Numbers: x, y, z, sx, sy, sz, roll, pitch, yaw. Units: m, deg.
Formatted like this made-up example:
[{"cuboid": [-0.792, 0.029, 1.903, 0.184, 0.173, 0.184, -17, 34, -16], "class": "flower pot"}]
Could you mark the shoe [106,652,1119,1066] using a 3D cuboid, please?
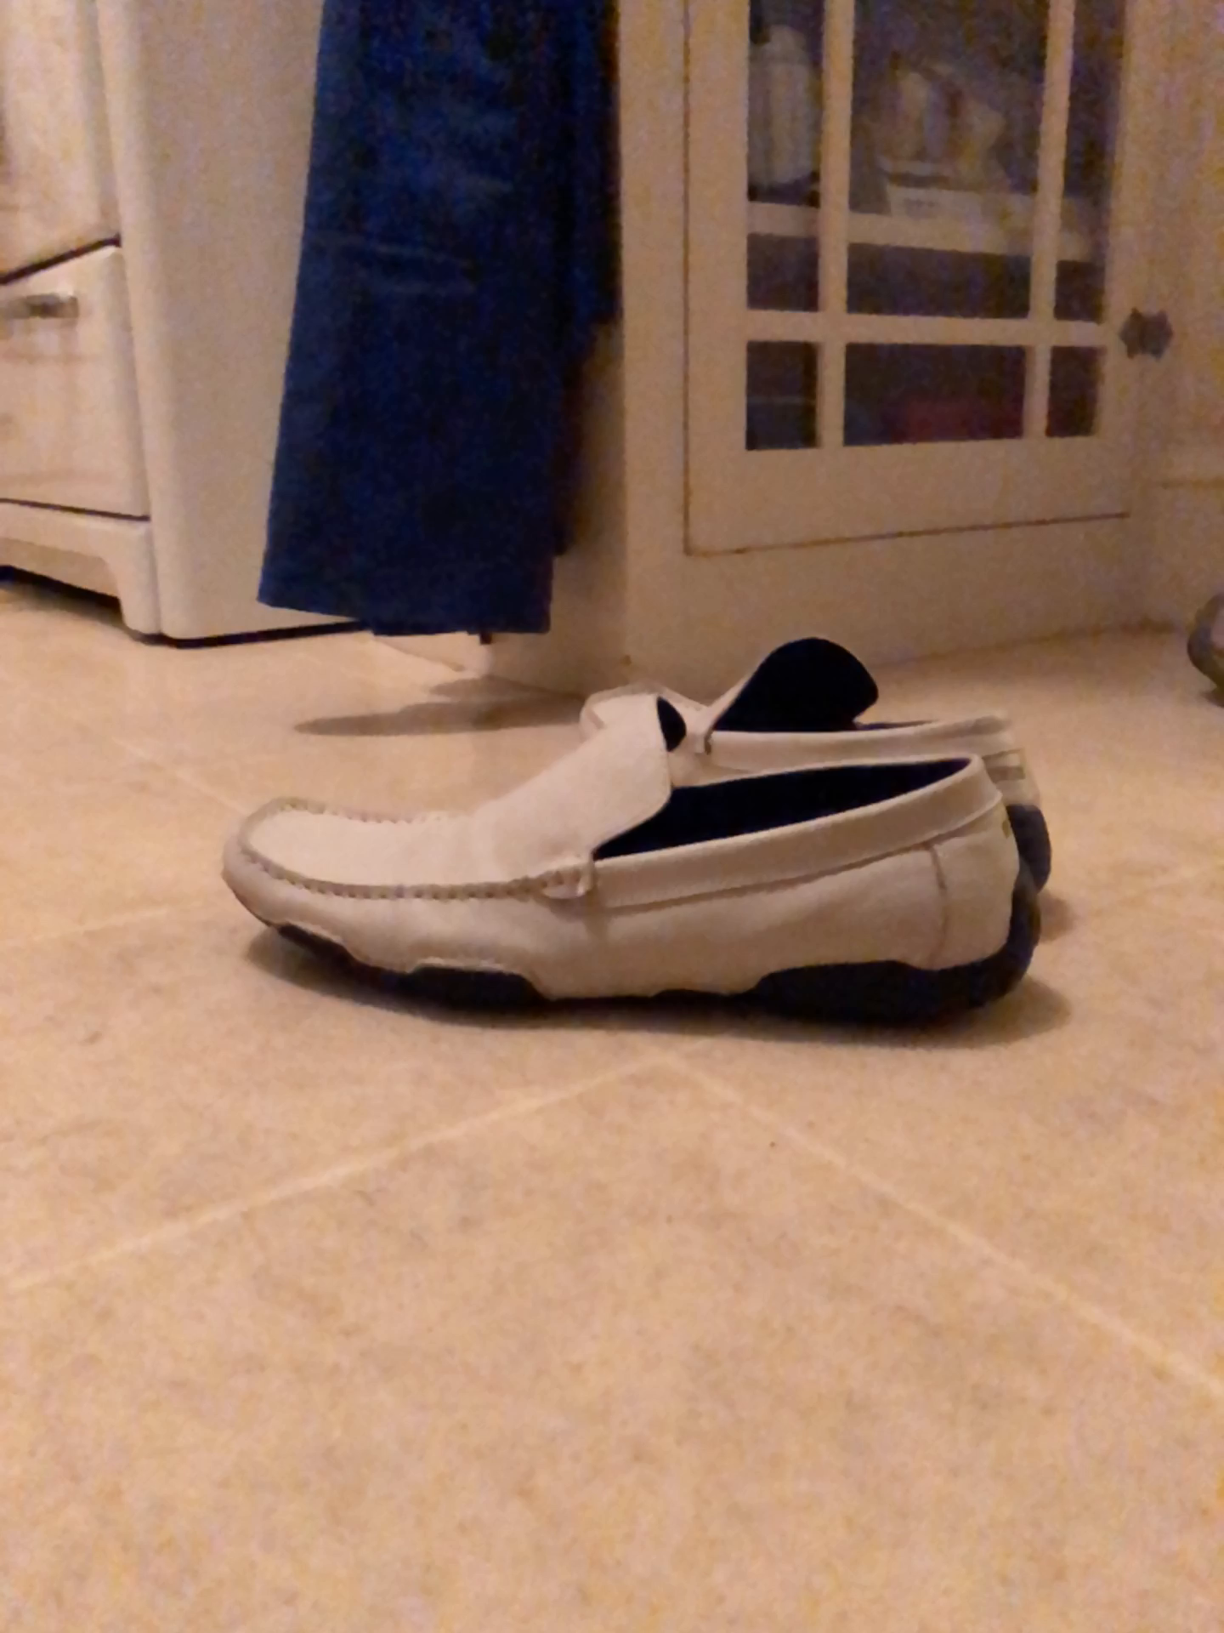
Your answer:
[{"cuboid": [0.000, 0.004, 0.464, 0.306, 0.097, 0.111, 3, 16, 11], "class": "shoe"}]

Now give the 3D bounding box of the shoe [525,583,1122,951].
[{"cuboid": [0.074, -0.041, 0.616, 0.111, 0.097, 0.290, -9, 18, -28], "class": "shoe"}]
